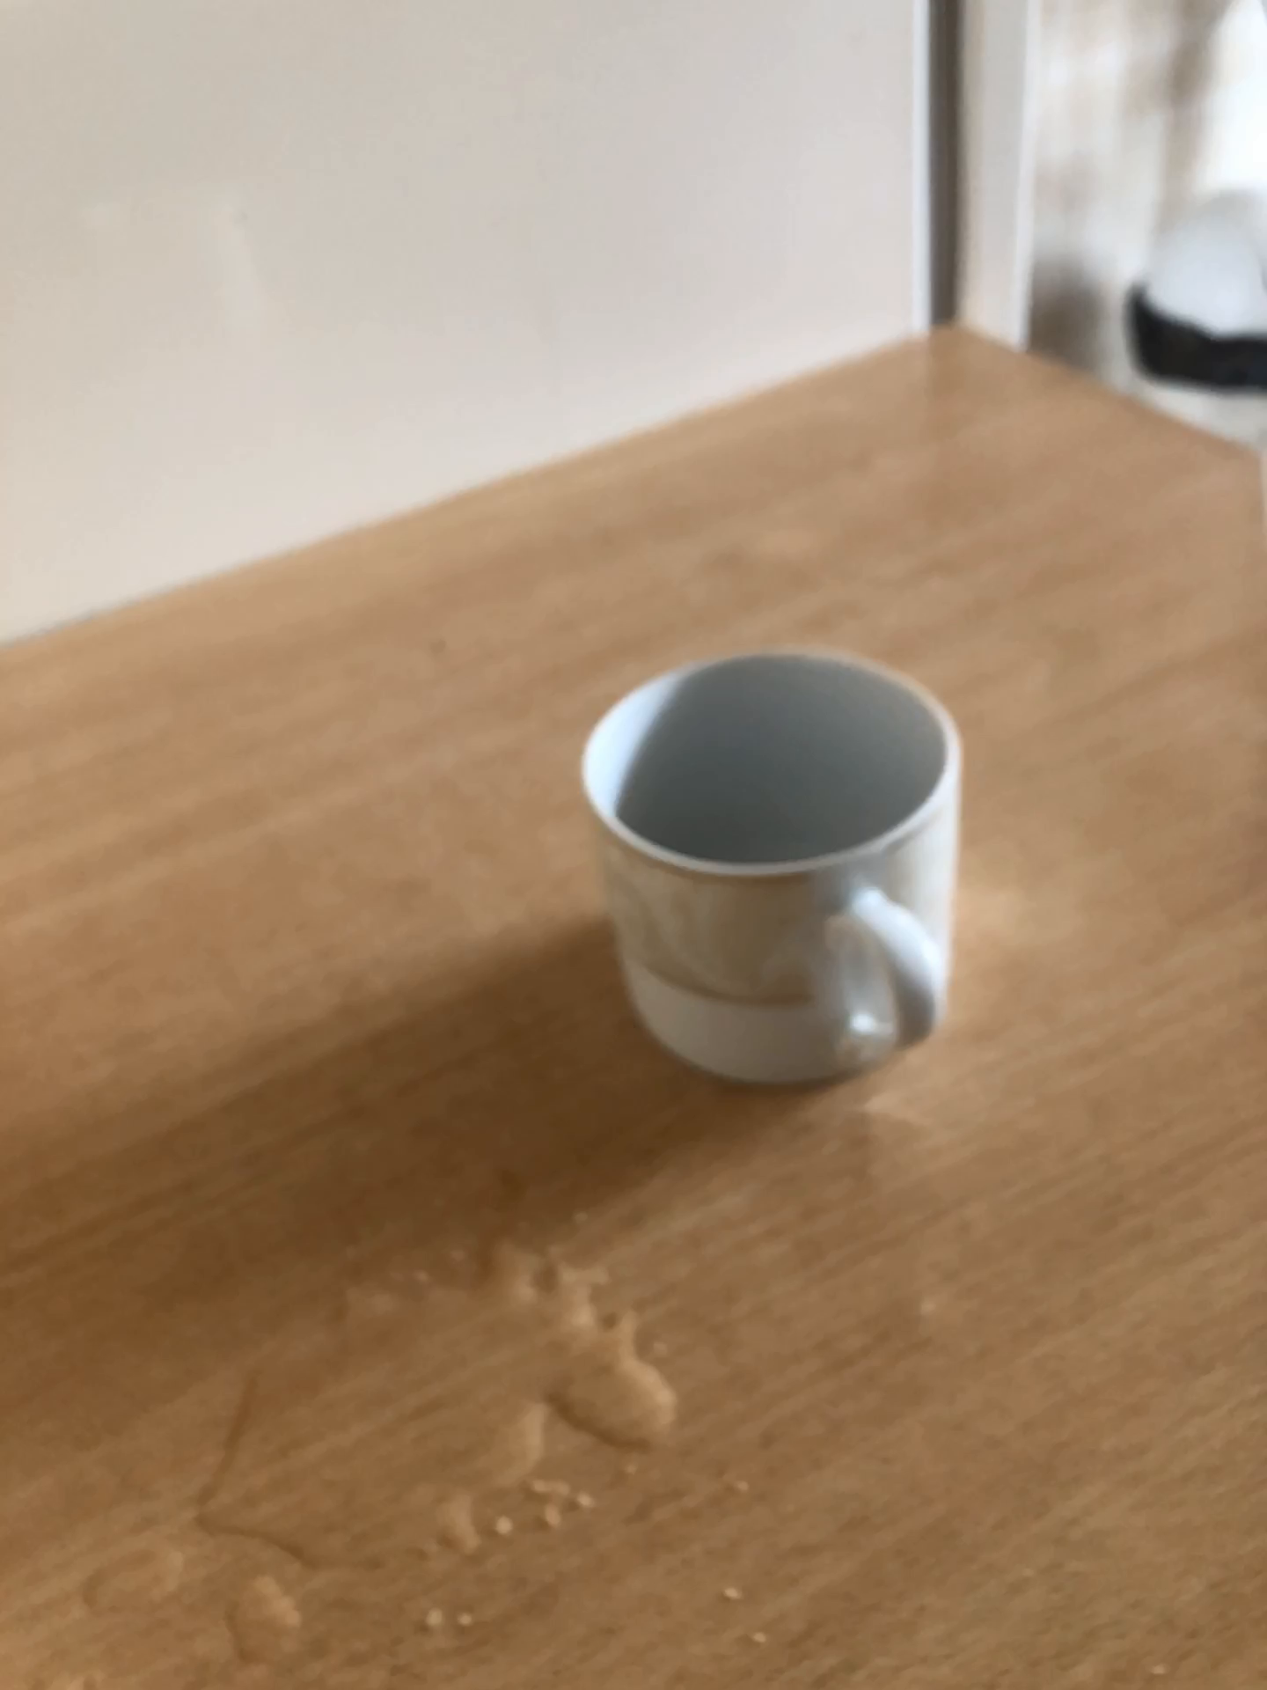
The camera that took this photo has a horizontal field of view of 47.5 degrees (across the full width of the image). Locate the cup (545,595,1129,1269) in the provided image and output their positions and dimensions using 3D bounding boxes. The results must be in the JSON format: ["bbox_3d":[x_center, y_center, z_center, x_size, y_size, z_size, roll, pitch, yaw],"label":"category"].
[{"bbox_3d":[0.036,0.012,0.296,0.074,0.069,0.106,-16,40,-9],"label":"cup"}]
